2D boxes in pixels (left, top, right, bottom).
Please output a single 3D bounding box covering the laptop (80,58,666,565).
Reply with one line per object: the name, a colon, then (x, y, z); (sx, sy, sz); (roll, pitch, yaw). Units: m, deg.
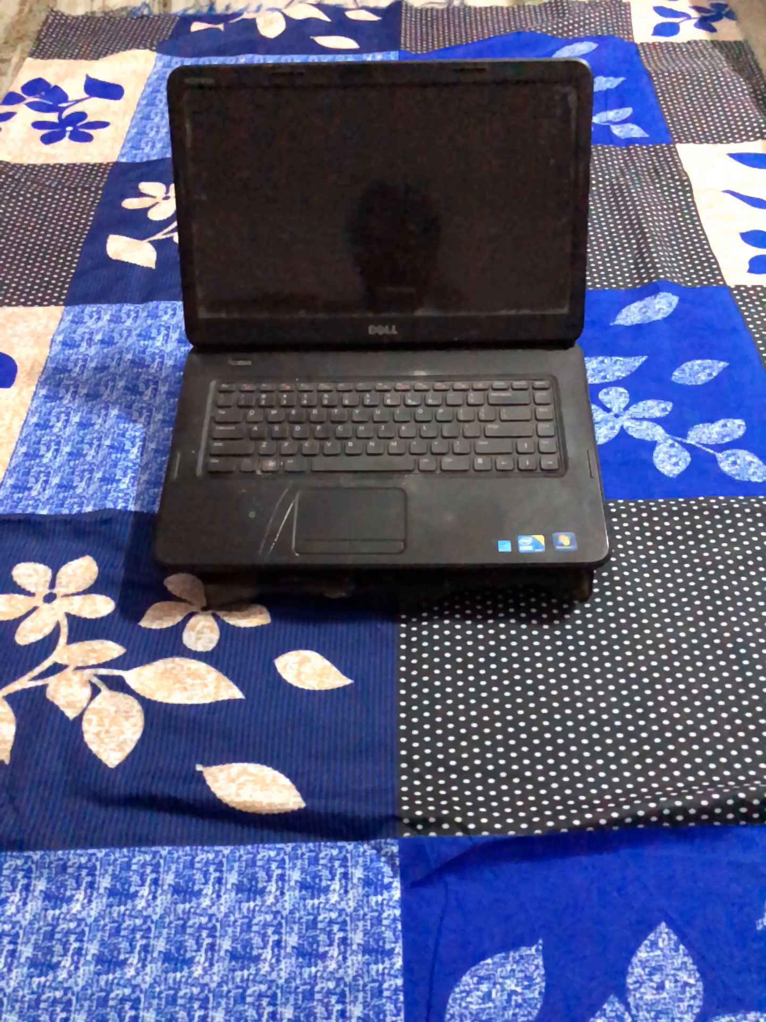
laptop: (-0.002, -0.180, 0.706); (0.363, 0.187, 0.391); (-1, 55, 0)
